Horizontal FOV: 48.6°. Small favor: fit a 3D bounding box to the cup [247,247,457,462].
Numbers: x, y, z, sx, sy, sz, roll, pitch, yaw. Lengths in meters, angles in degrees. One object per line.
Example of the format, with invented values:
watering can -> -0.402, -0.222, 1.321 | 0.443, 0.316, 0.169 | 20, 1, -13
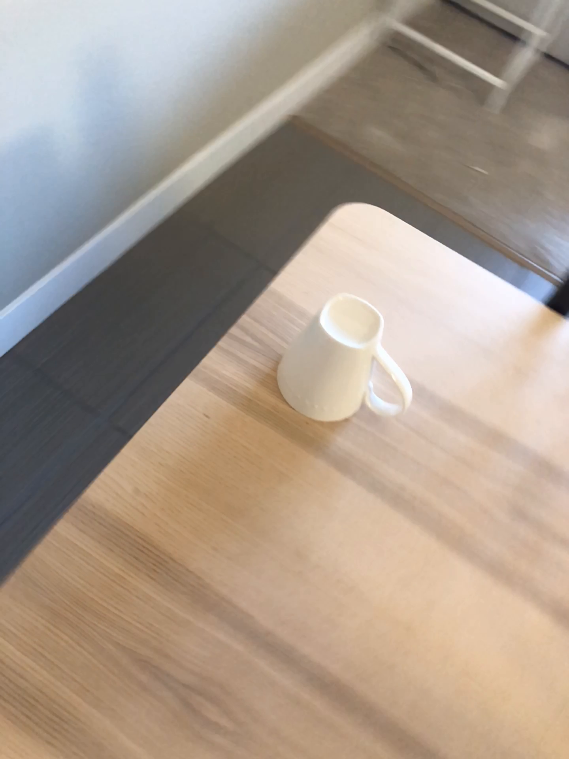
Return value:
cup -> 0.059, -0.021, 0.589 | 0.140, 0.120, 0.100 | 27, 55, 5
